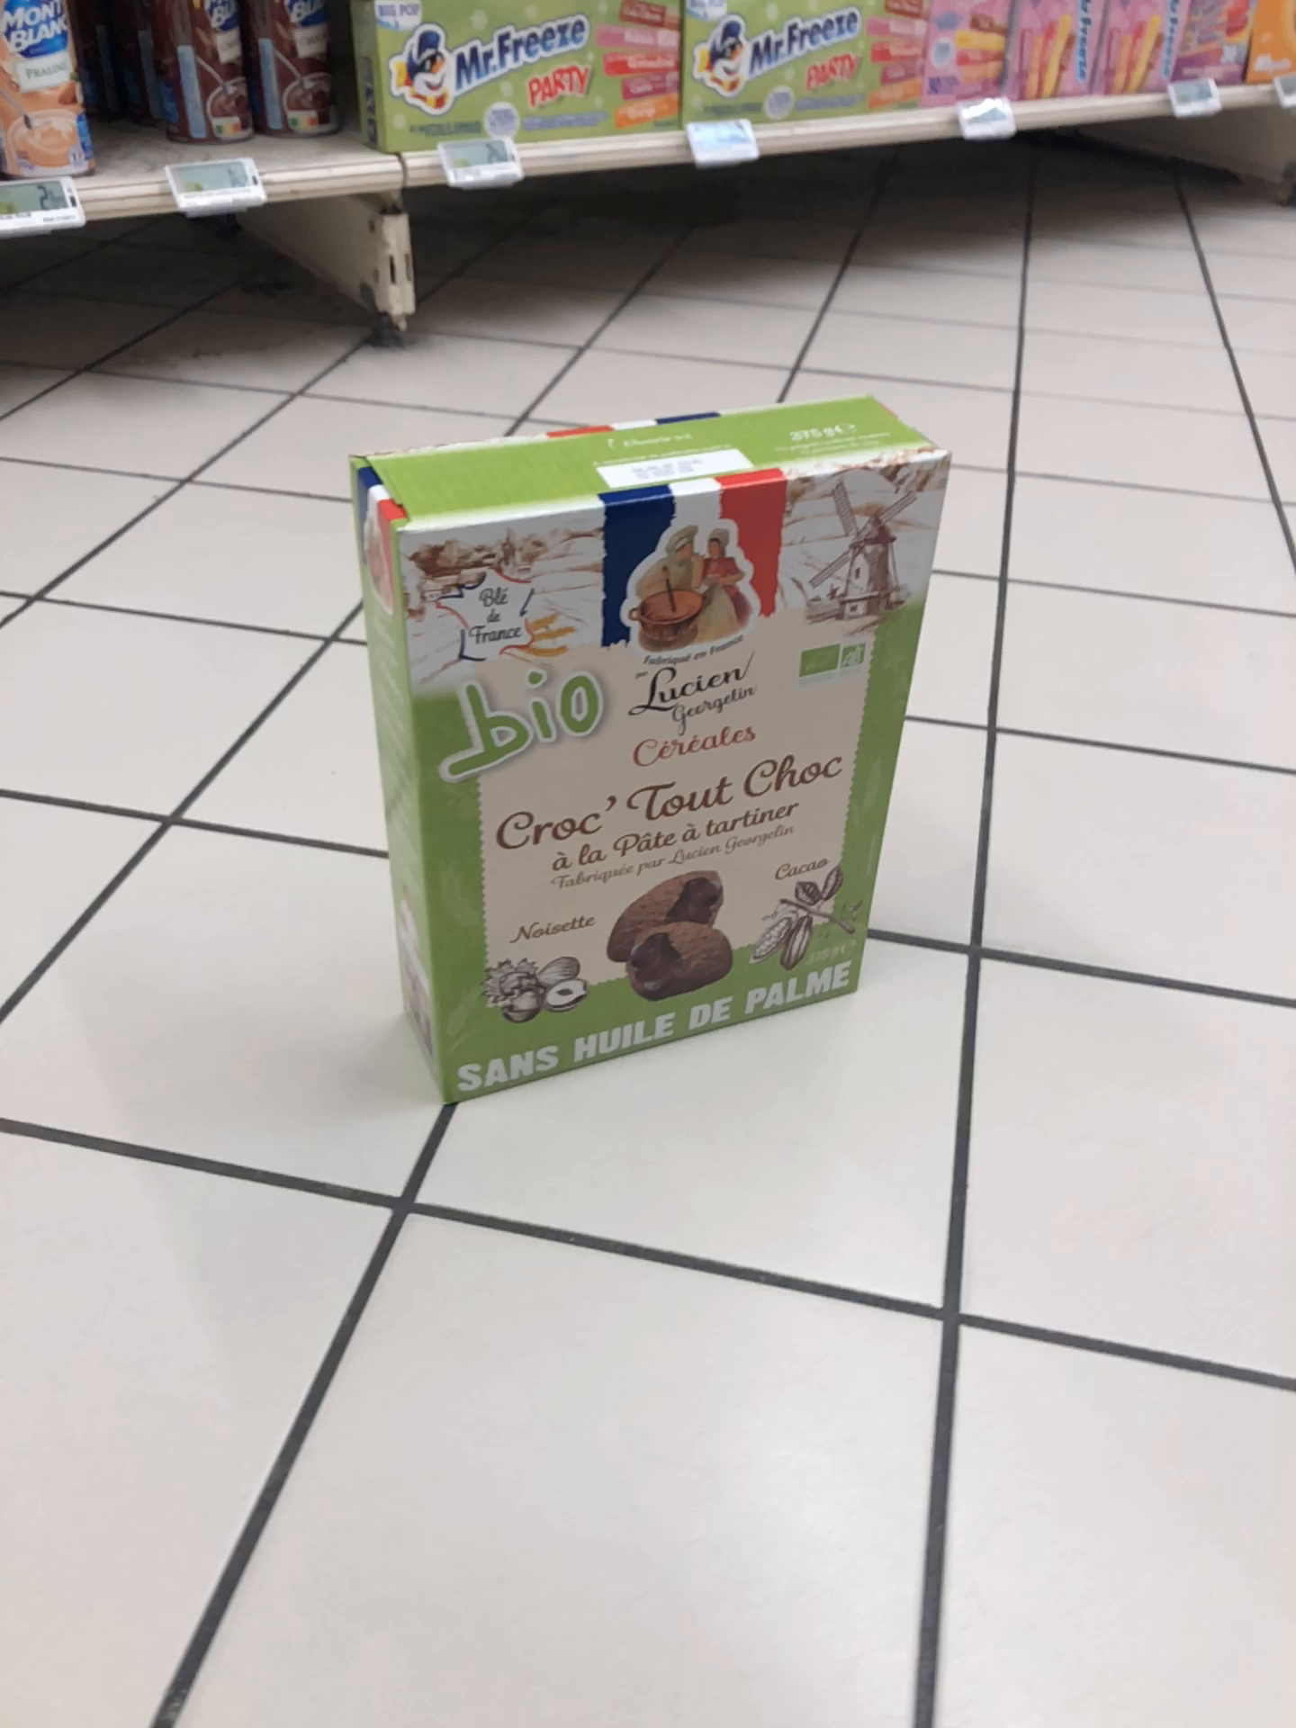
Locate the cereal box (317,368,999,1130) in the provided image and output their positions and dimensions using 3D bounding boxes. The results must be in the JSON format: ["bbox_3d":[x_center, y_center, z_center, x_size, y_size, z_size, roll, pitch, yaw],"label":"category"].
[{"bbox_3d":[0.000,-0.040,0.521,0.201,0.239,0.080,-12,38,-18],"label":"cereal box"}]
